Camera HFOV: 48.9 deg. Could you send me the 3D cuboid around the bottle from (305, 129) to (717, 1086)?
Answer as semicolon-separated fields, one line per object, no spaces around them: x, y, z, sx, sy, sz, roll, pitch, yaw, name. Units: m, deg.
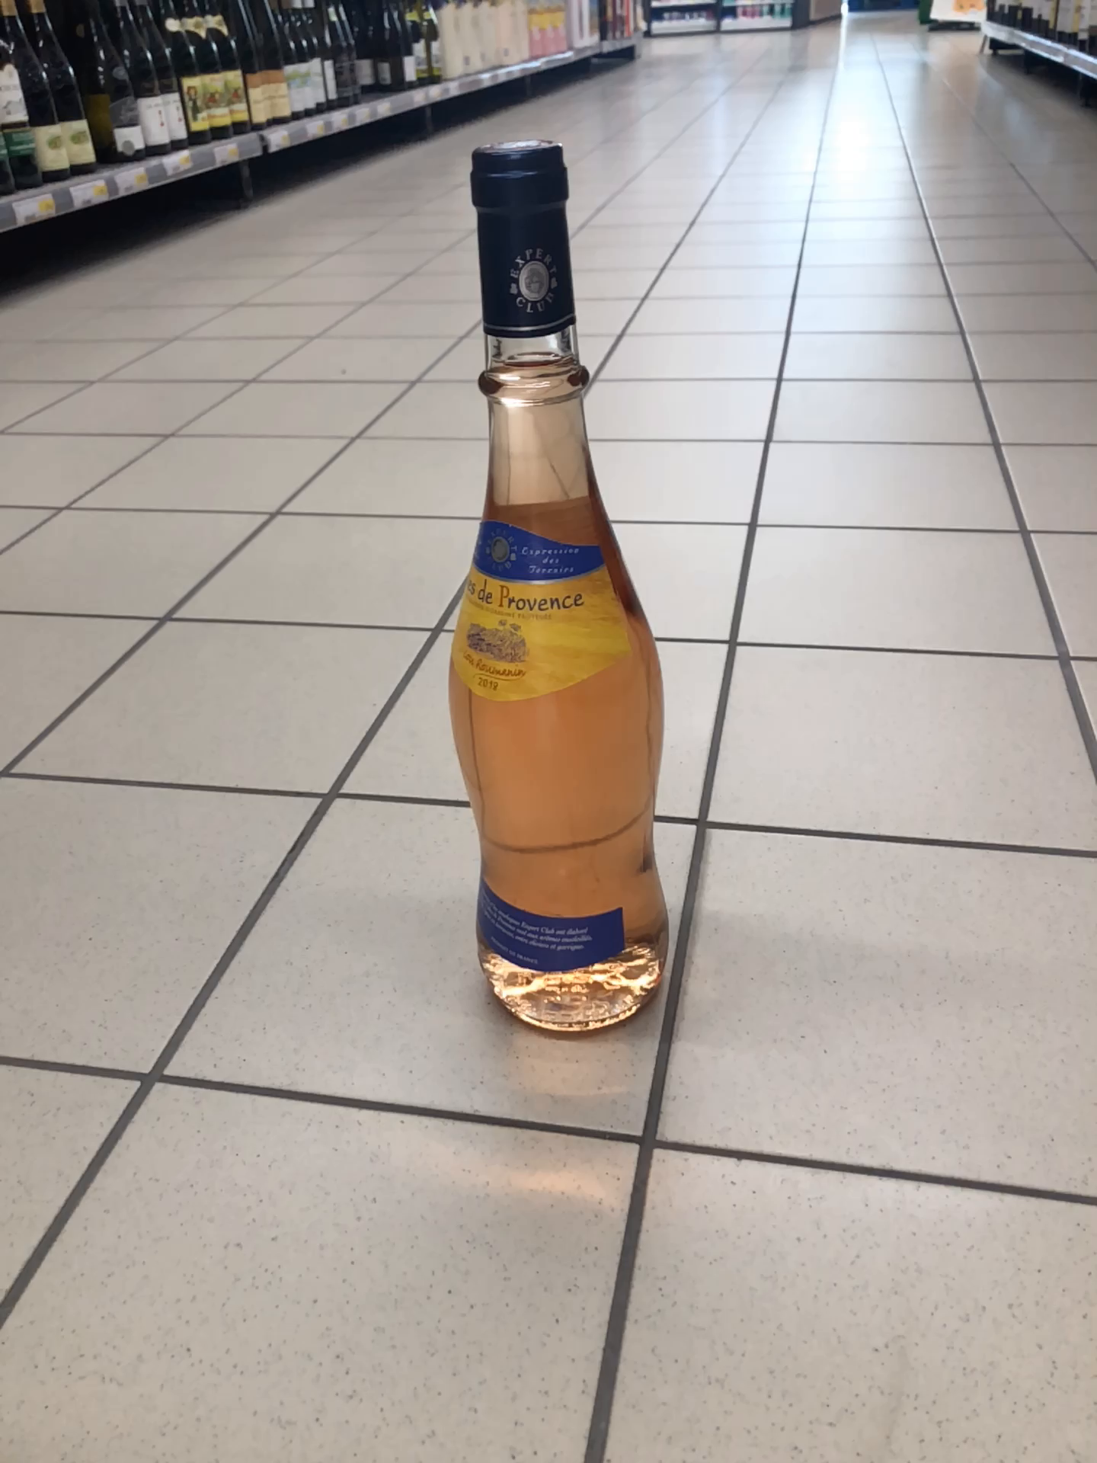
-0.002;-0.034;0.430;0.090;0.318;0.080;22;39;38;bottle
